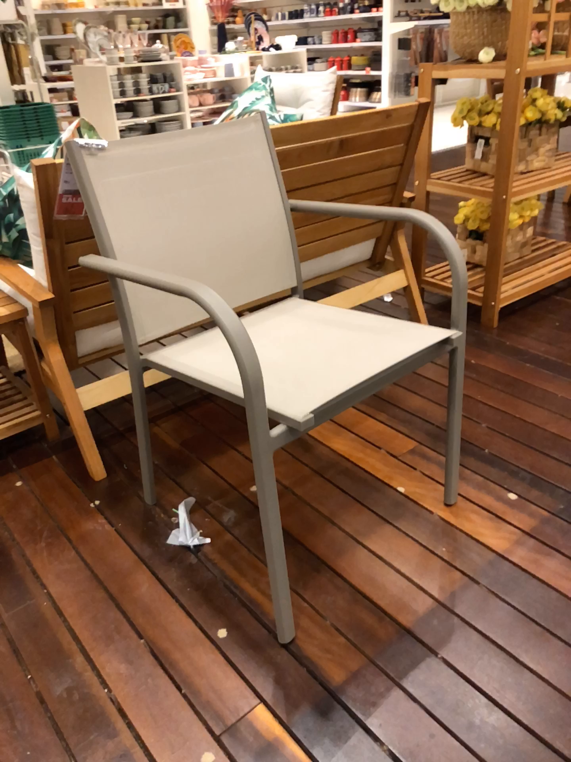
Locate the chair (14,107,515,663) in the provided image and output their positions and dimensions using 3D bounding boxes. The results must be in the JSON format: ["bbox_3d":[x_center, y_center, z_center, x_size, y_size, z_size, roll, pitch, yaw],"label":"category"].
[{"bbox_3d":[-0.025,-0.078,1.269,0.622,0.794,0.613,-25,35,-34],"label":"chair"}]
